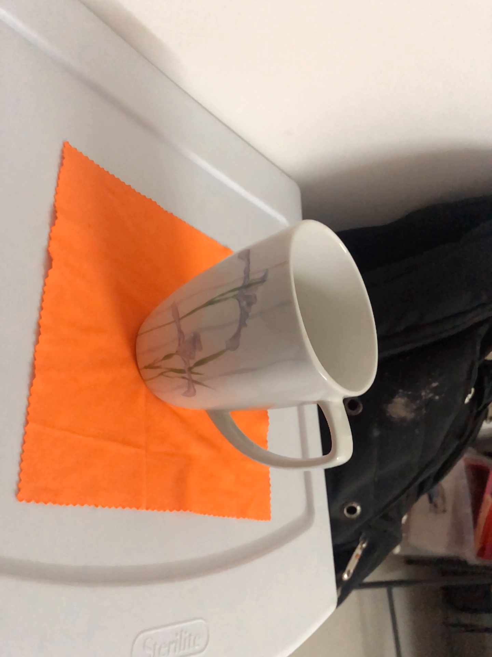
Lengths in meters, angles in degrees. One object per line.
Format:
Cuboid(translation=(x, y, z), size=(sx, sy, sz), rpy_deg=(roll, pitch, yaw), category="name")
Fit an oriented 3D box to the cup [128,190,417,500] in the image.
Cuboid(translation=(0.012, 0.017, 0.284), size=(0.091, 0.099, 0.120), rpy_deg=(12, 66, -53), category="cup")
